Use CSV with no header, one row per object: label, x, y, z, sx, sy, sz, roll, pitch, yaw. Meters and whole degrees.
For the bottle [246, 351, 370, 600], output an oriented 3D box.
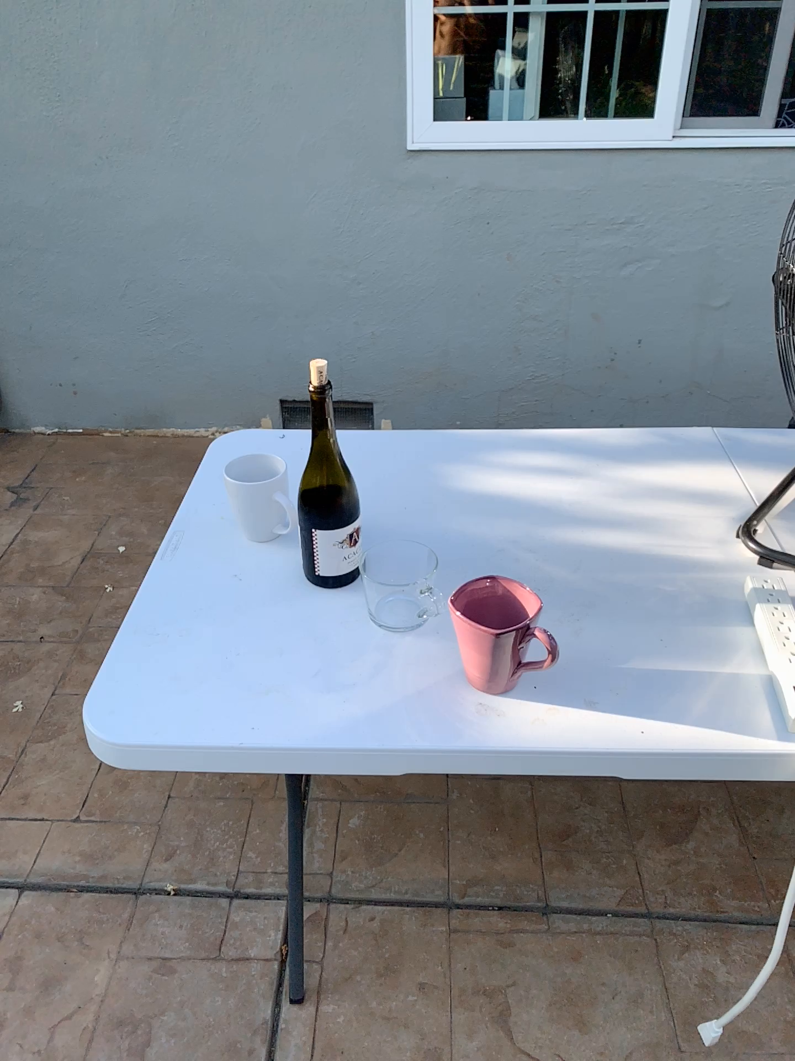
bottle,-0.113,-0.071,1.097,0.101,0.303,0.103,-1,33,1
